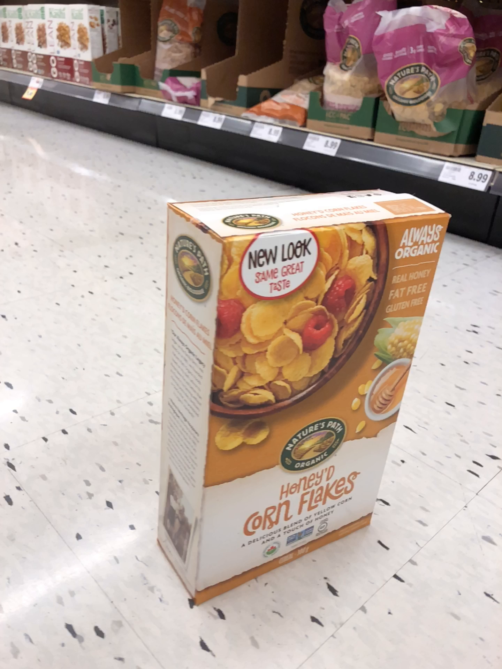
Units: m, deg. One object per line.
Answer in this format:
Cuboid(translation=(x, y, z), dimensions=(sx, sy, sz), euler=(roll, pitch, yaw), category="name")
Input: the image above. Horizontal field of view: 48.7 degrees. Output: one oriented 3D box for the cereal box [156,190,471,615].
Cuboid(translation=(0.029, 0.040, 0.348), dimensions=(0.160, 0.239, 0.060), euler=(-11, 32, -30), category="cereal box")
